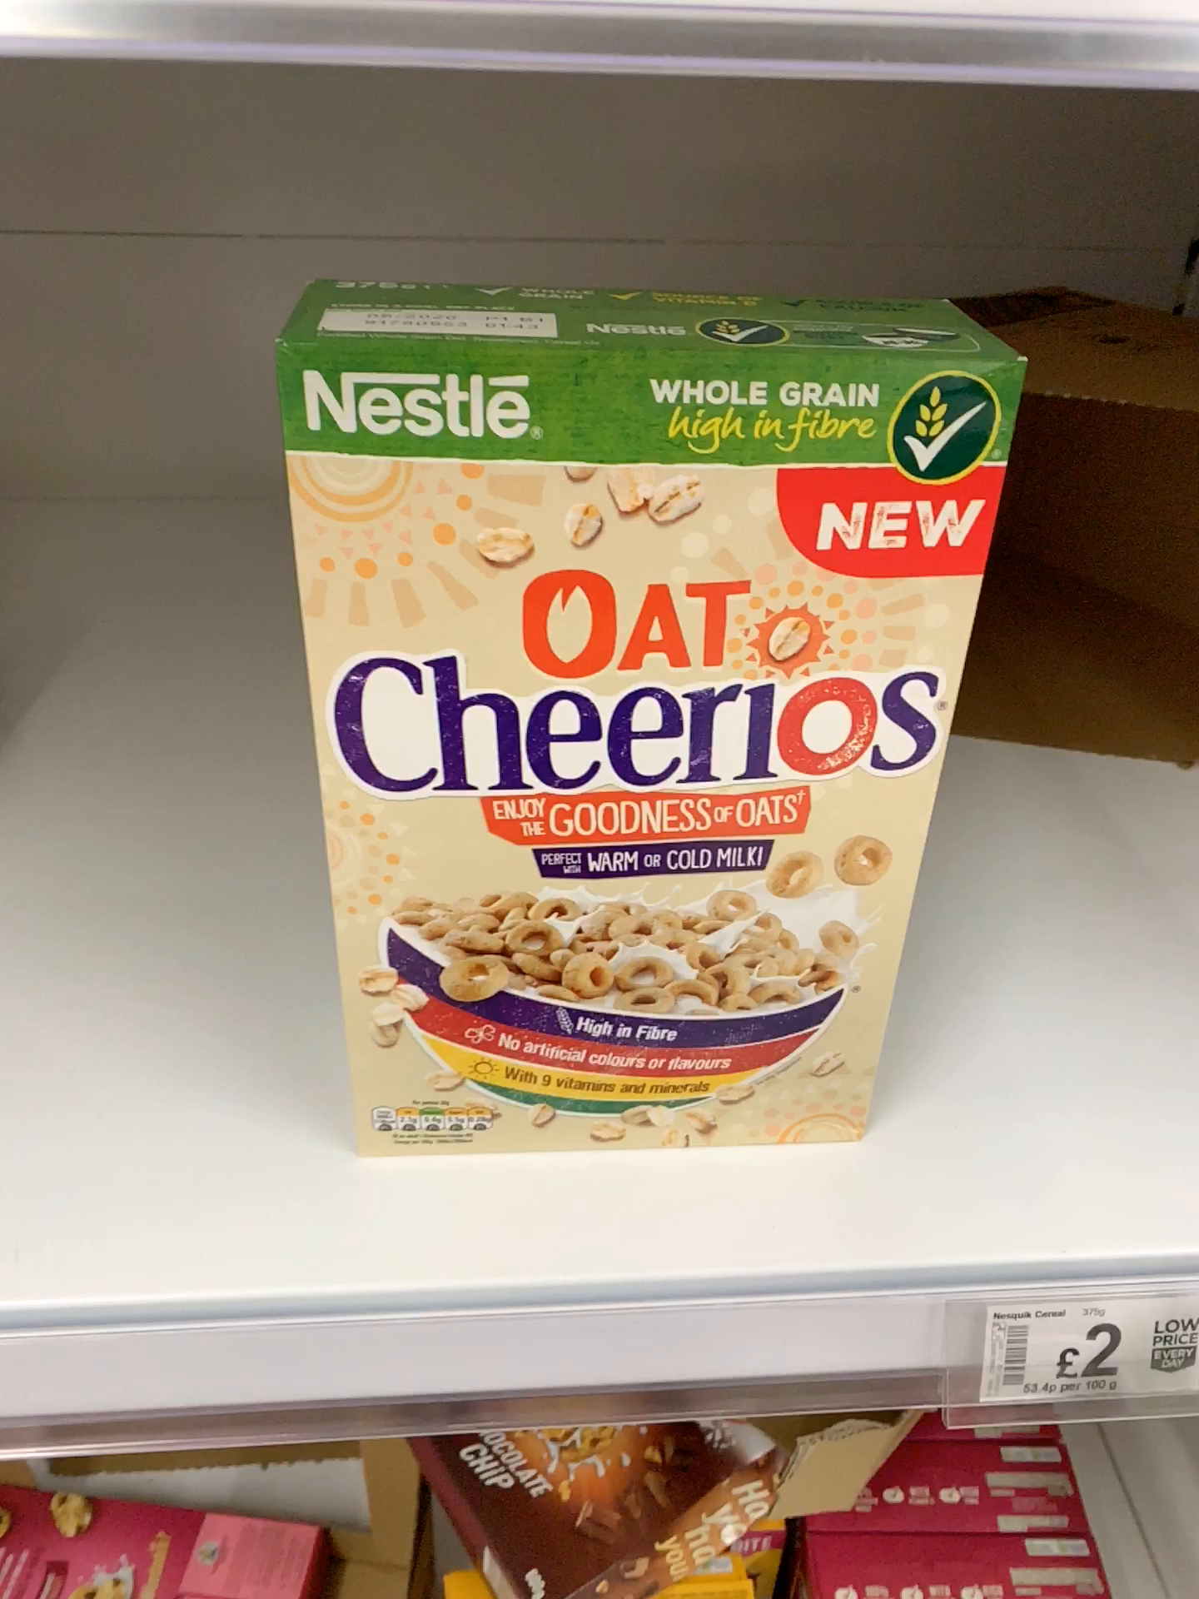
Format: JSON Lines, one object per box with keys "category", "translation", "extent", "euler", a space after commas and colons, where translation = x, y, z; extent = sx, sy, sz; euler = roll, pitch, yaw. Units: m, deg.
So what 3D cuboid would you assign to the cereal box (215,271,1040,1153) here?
{"category": "cereal box", "translation": [0.003, -0.011, 0.407], "extent": [0.200, 0.287, 0.071], "euler": [0, 34, -4]}
